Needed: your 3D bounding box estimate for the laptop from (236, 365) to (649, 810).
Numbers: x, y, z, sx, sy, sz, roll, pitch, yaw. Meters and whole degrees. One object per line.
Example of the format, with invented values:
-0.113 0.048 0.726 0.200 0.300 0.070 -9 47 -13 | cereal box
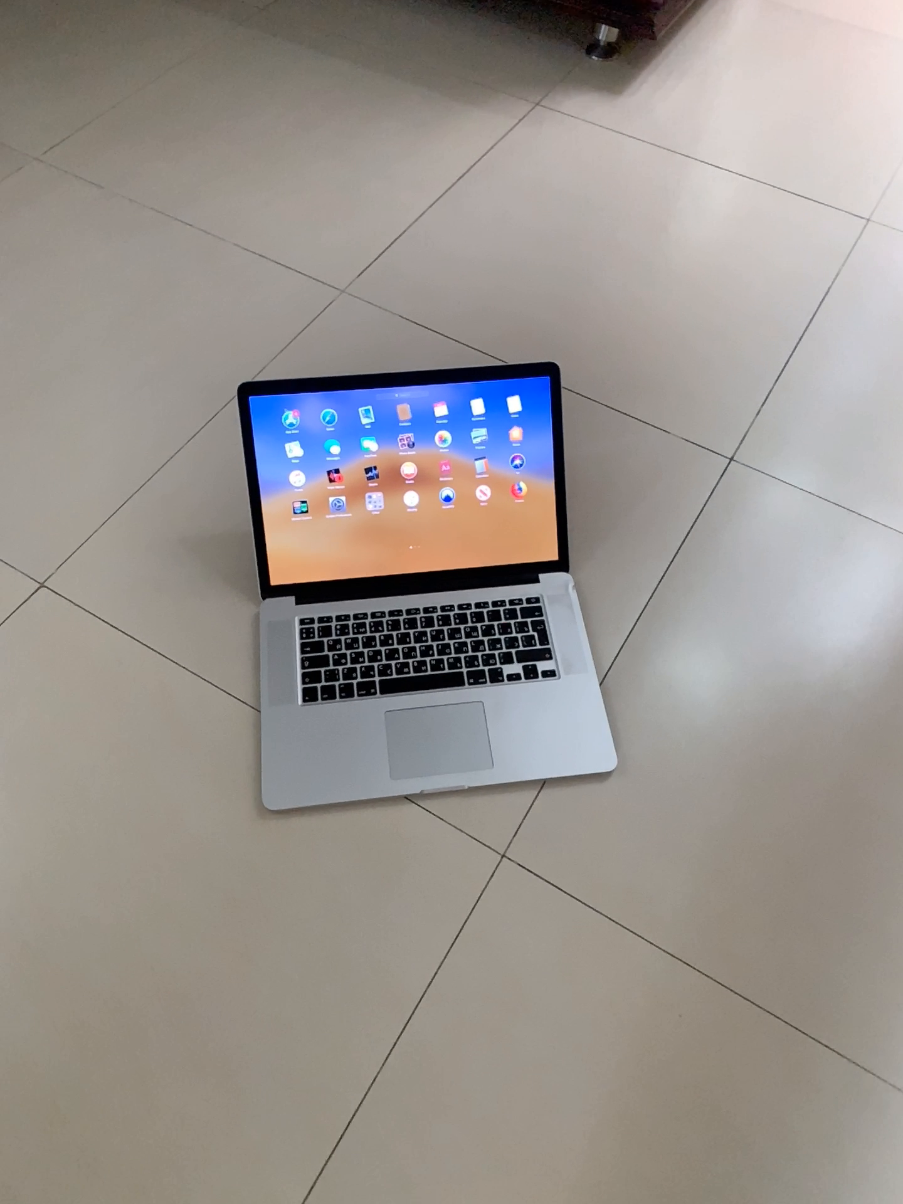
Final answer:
-0.032 -0.032 0.965 0.352 0.162 0.416 -5 57 -6 | laptop
